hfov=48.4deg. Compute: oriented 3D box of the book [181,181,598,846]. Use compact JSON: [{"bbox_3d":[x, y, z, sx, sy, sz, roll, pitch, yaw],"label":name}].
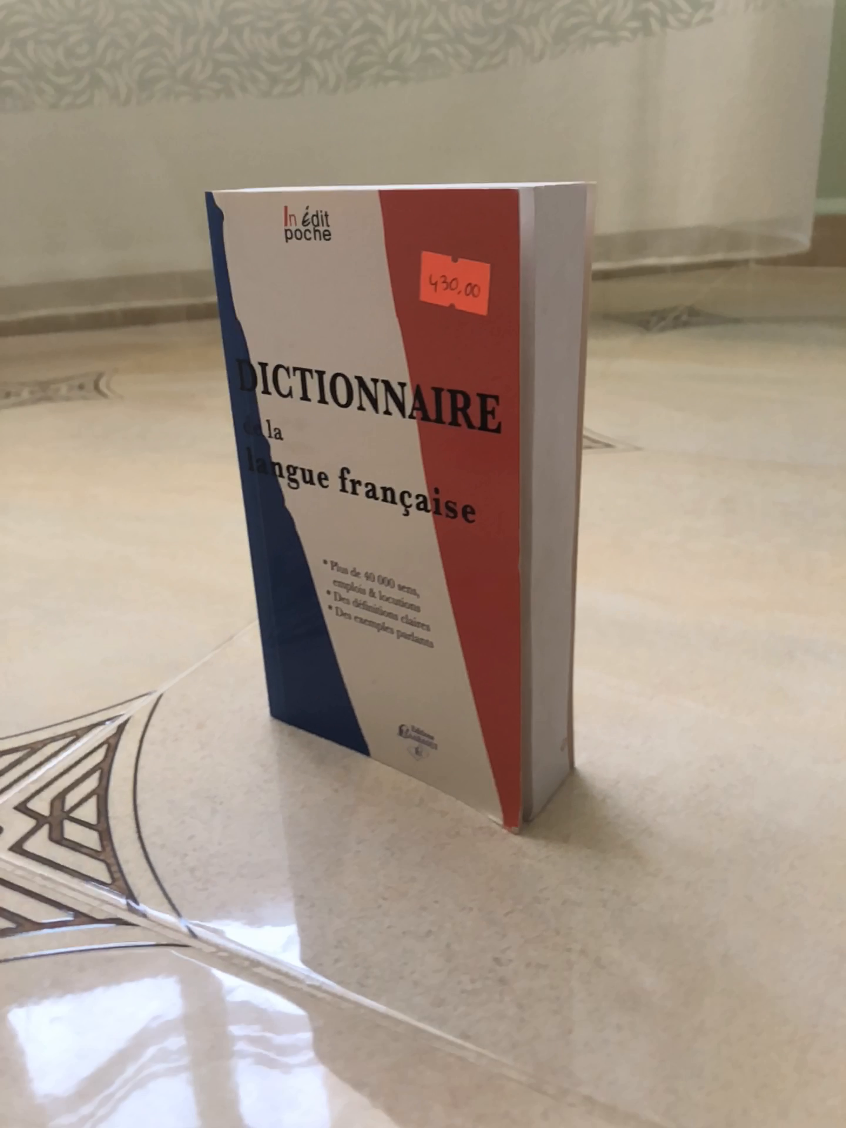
[{"bbox_3d":[-0.010,-0.019,0.292,0.121,0.182,0.034,16,30,36],"label":"book"}]
